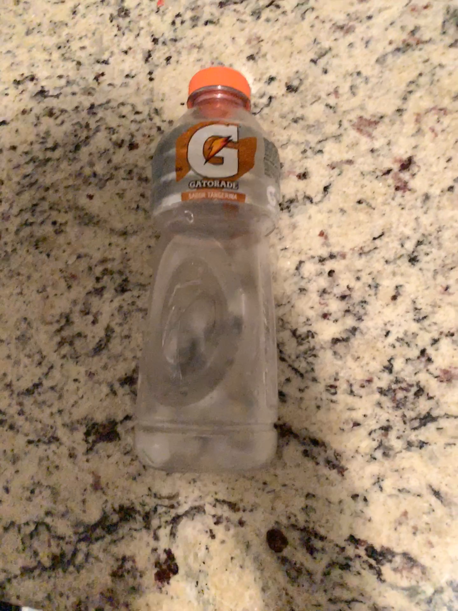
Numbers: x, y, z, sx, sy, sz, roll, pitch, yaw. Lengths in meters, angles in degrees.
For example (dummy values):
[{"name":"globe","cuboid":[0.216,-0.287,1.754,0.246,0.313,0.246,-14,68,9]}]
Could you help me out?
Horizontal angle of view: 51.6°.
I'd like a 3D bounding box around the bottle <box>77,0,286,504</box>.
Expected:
[{"name":"bottle","cuboid":[-0.014,-0.031,0.230,0.070,0.070,0.220,-2,79,19]}]
